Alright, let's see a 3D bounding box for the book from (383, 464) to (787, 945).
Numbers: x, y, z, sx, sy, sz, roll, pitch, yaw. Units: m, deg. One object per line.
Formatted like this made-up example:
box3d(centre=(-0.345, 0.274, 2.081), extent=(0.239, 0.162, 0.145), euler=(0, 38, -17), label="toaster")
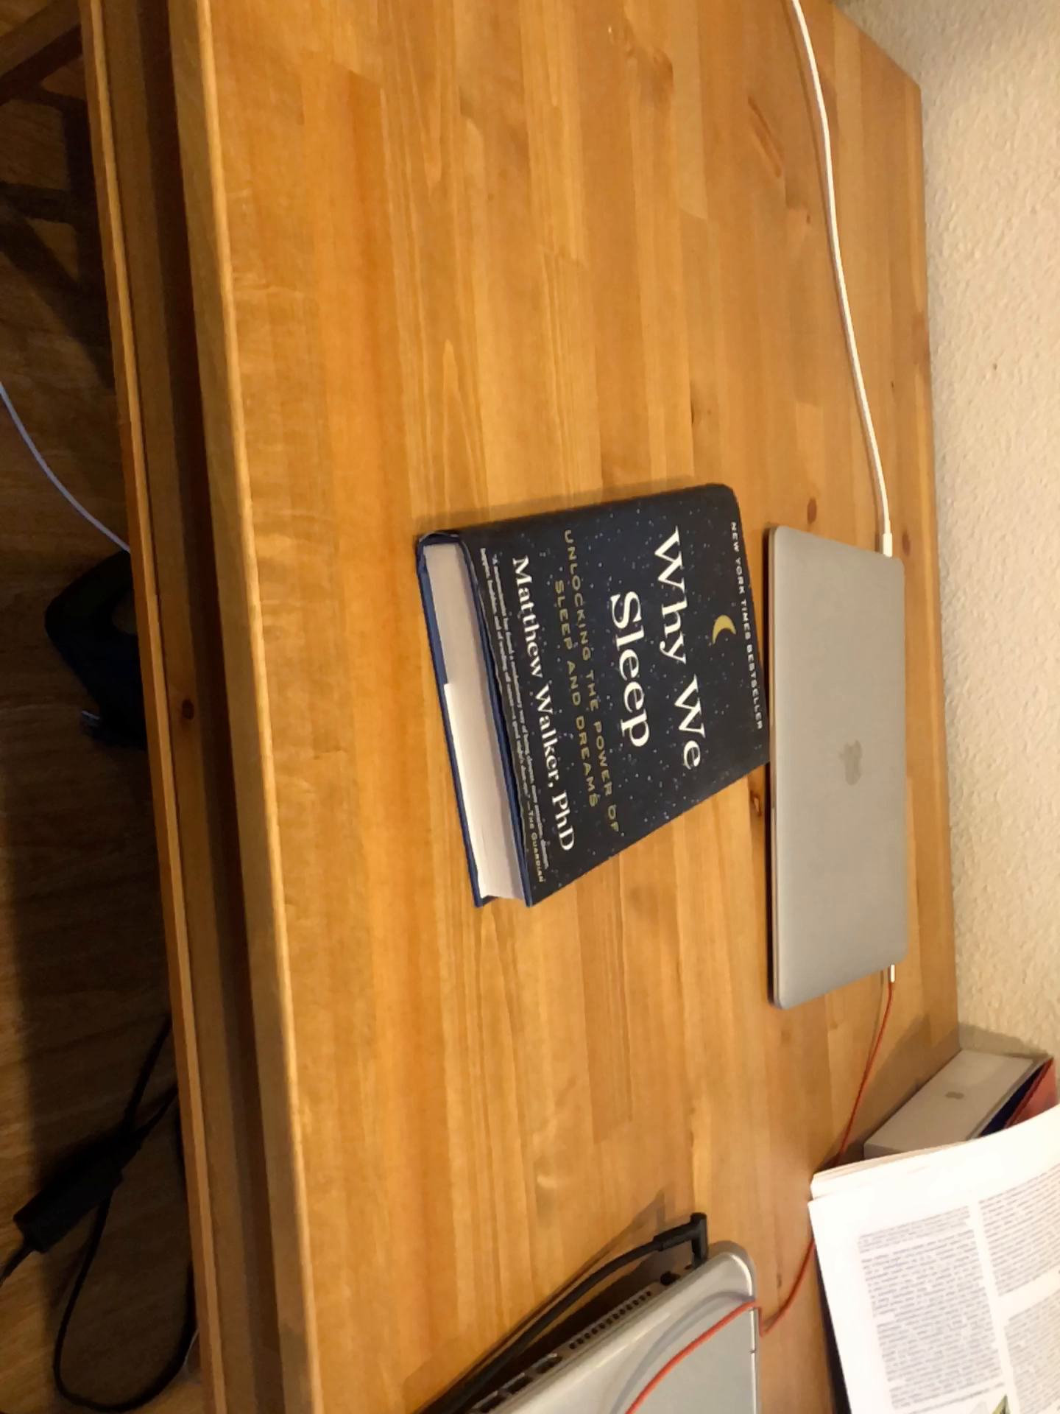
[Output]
box3d(centre=(0.043, -0.017, 0.550), extent=(0.241, 0.040, 0.170), euler=(-22, 106, -51), label="book")
